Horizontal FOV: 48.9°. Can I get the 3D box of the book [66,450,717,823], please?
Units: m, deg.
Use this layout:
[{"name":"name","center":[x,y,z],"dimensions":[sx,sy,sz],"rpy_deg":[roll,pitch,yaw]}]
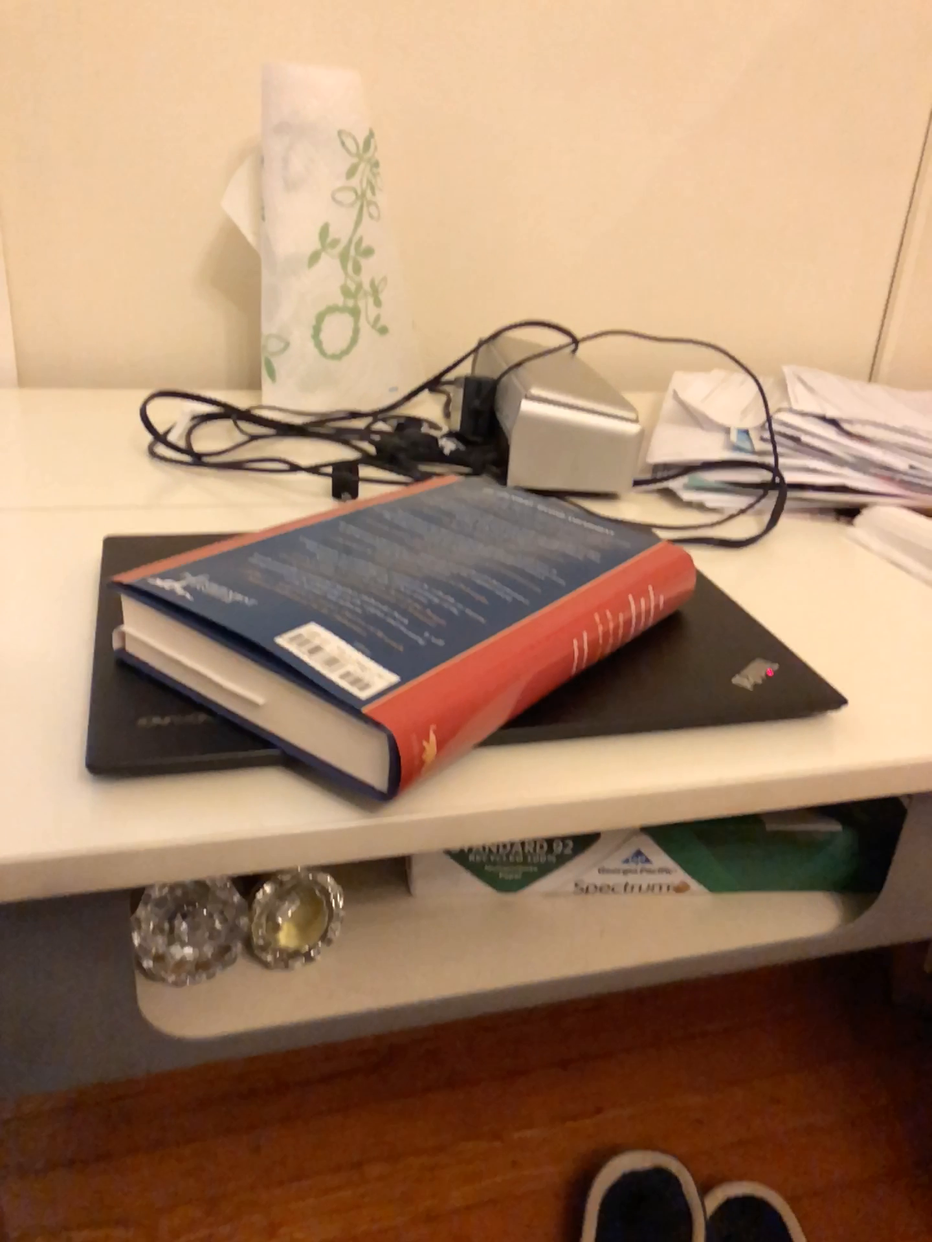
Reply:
[{"name":"book","center":[-0.020,-0.016,0.460],"dimensions":[0.170,0.040,0.241],"rpy_deg":[20,31,32]}]
